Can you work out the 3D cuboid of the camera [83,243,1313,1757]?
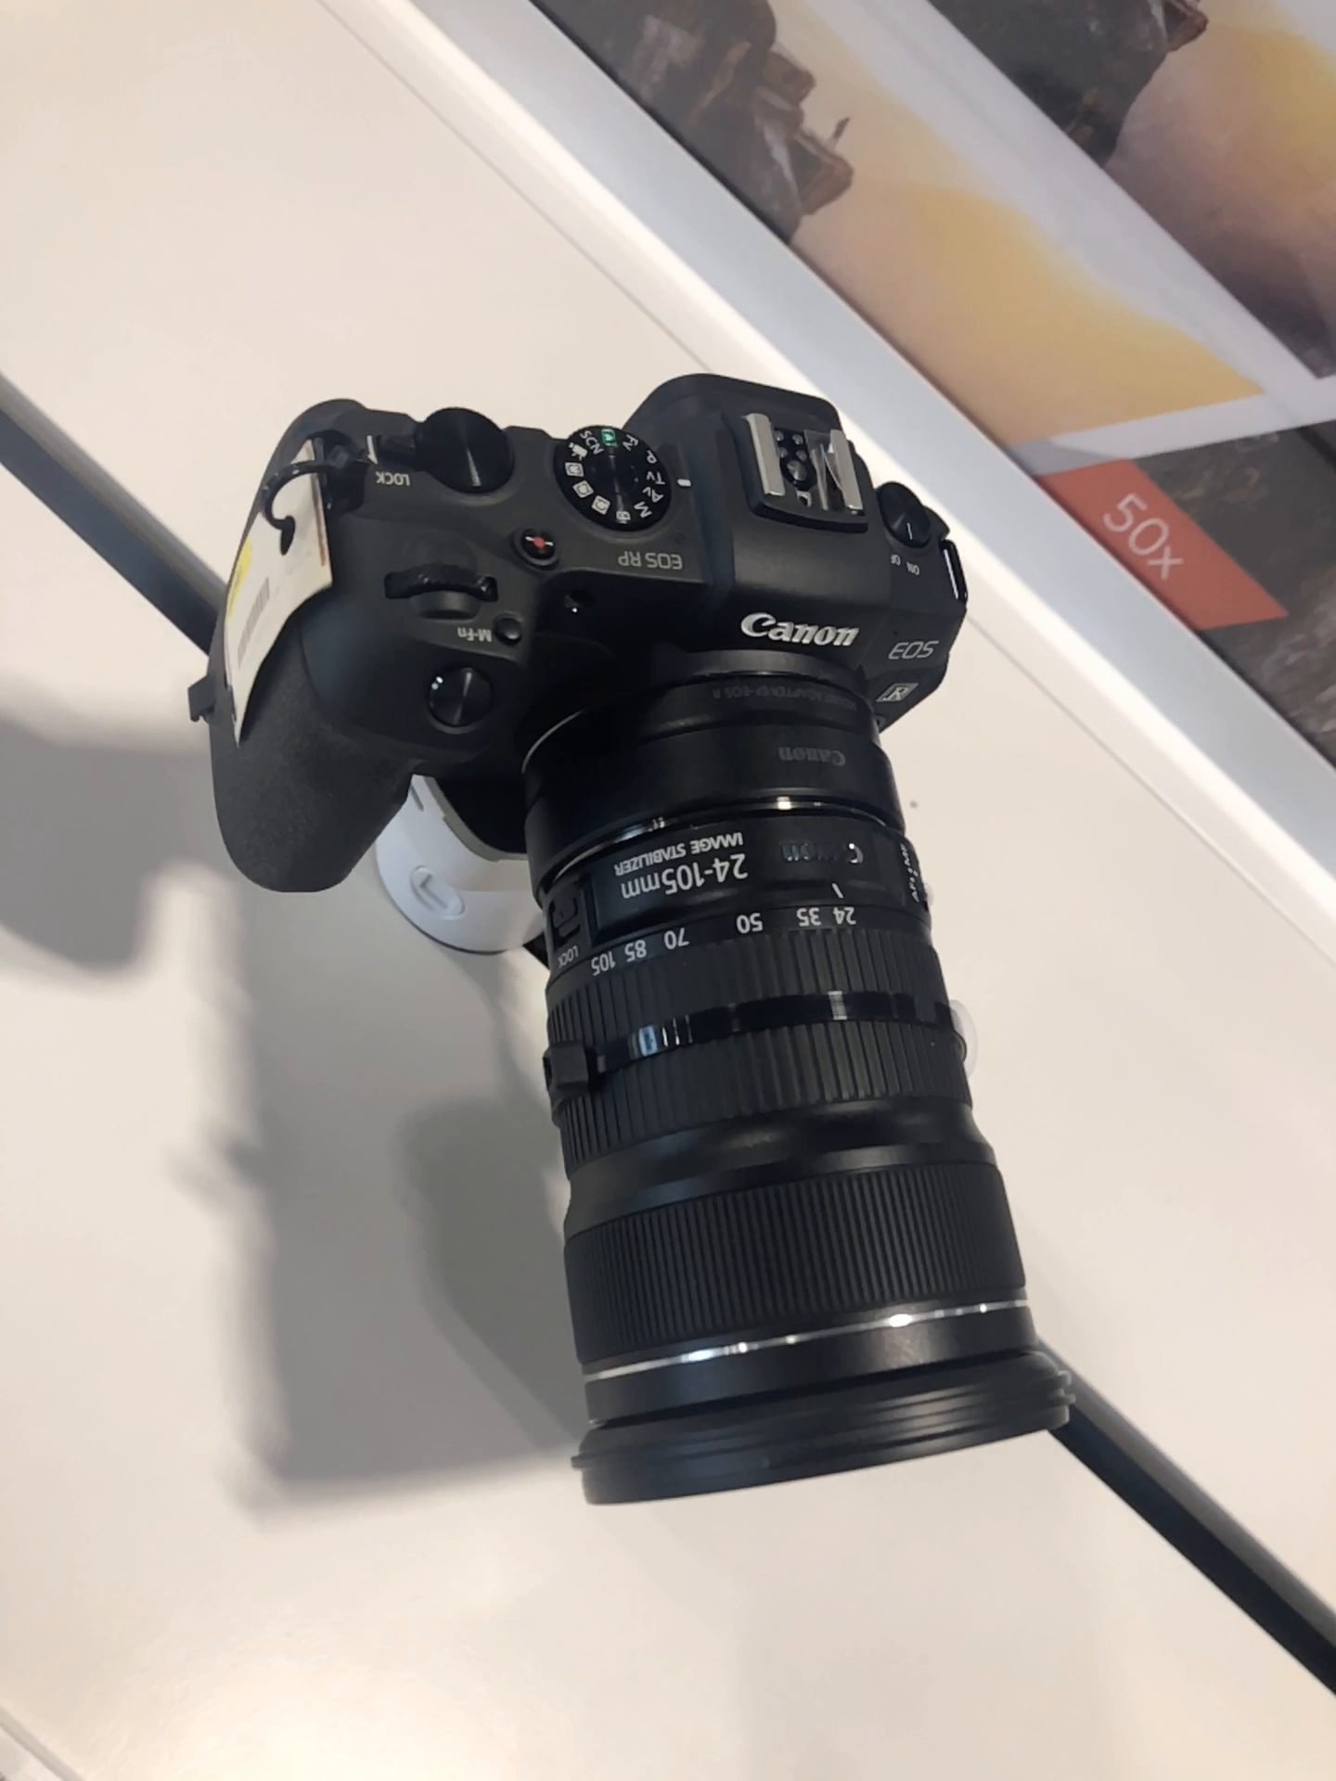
[{"bbox_3d":[-0.009,0.013,0.244,0.136,0.090,0.191,-1,66,-31],"label":"camera"}]
